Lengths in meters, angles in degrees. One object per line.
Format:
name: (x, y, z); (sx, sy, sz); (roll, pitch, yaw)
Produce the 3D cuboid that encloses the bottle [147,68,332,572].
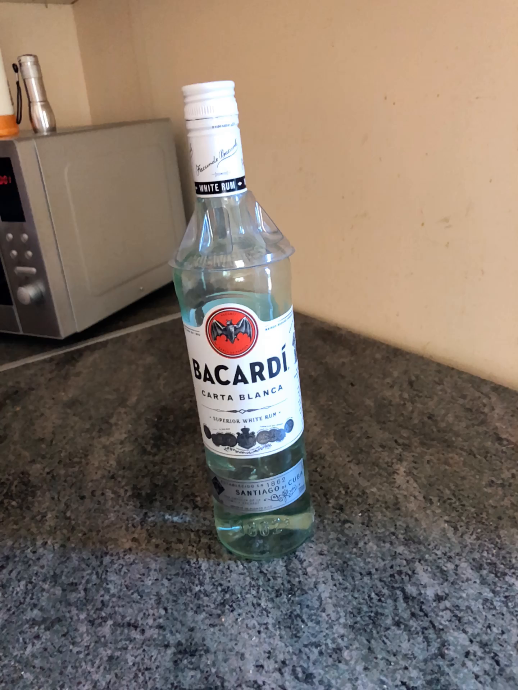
bottle: (-0.004, -0.006, 0.364); (0.080, 0.299, 0.080); (-4, 21, 2)
